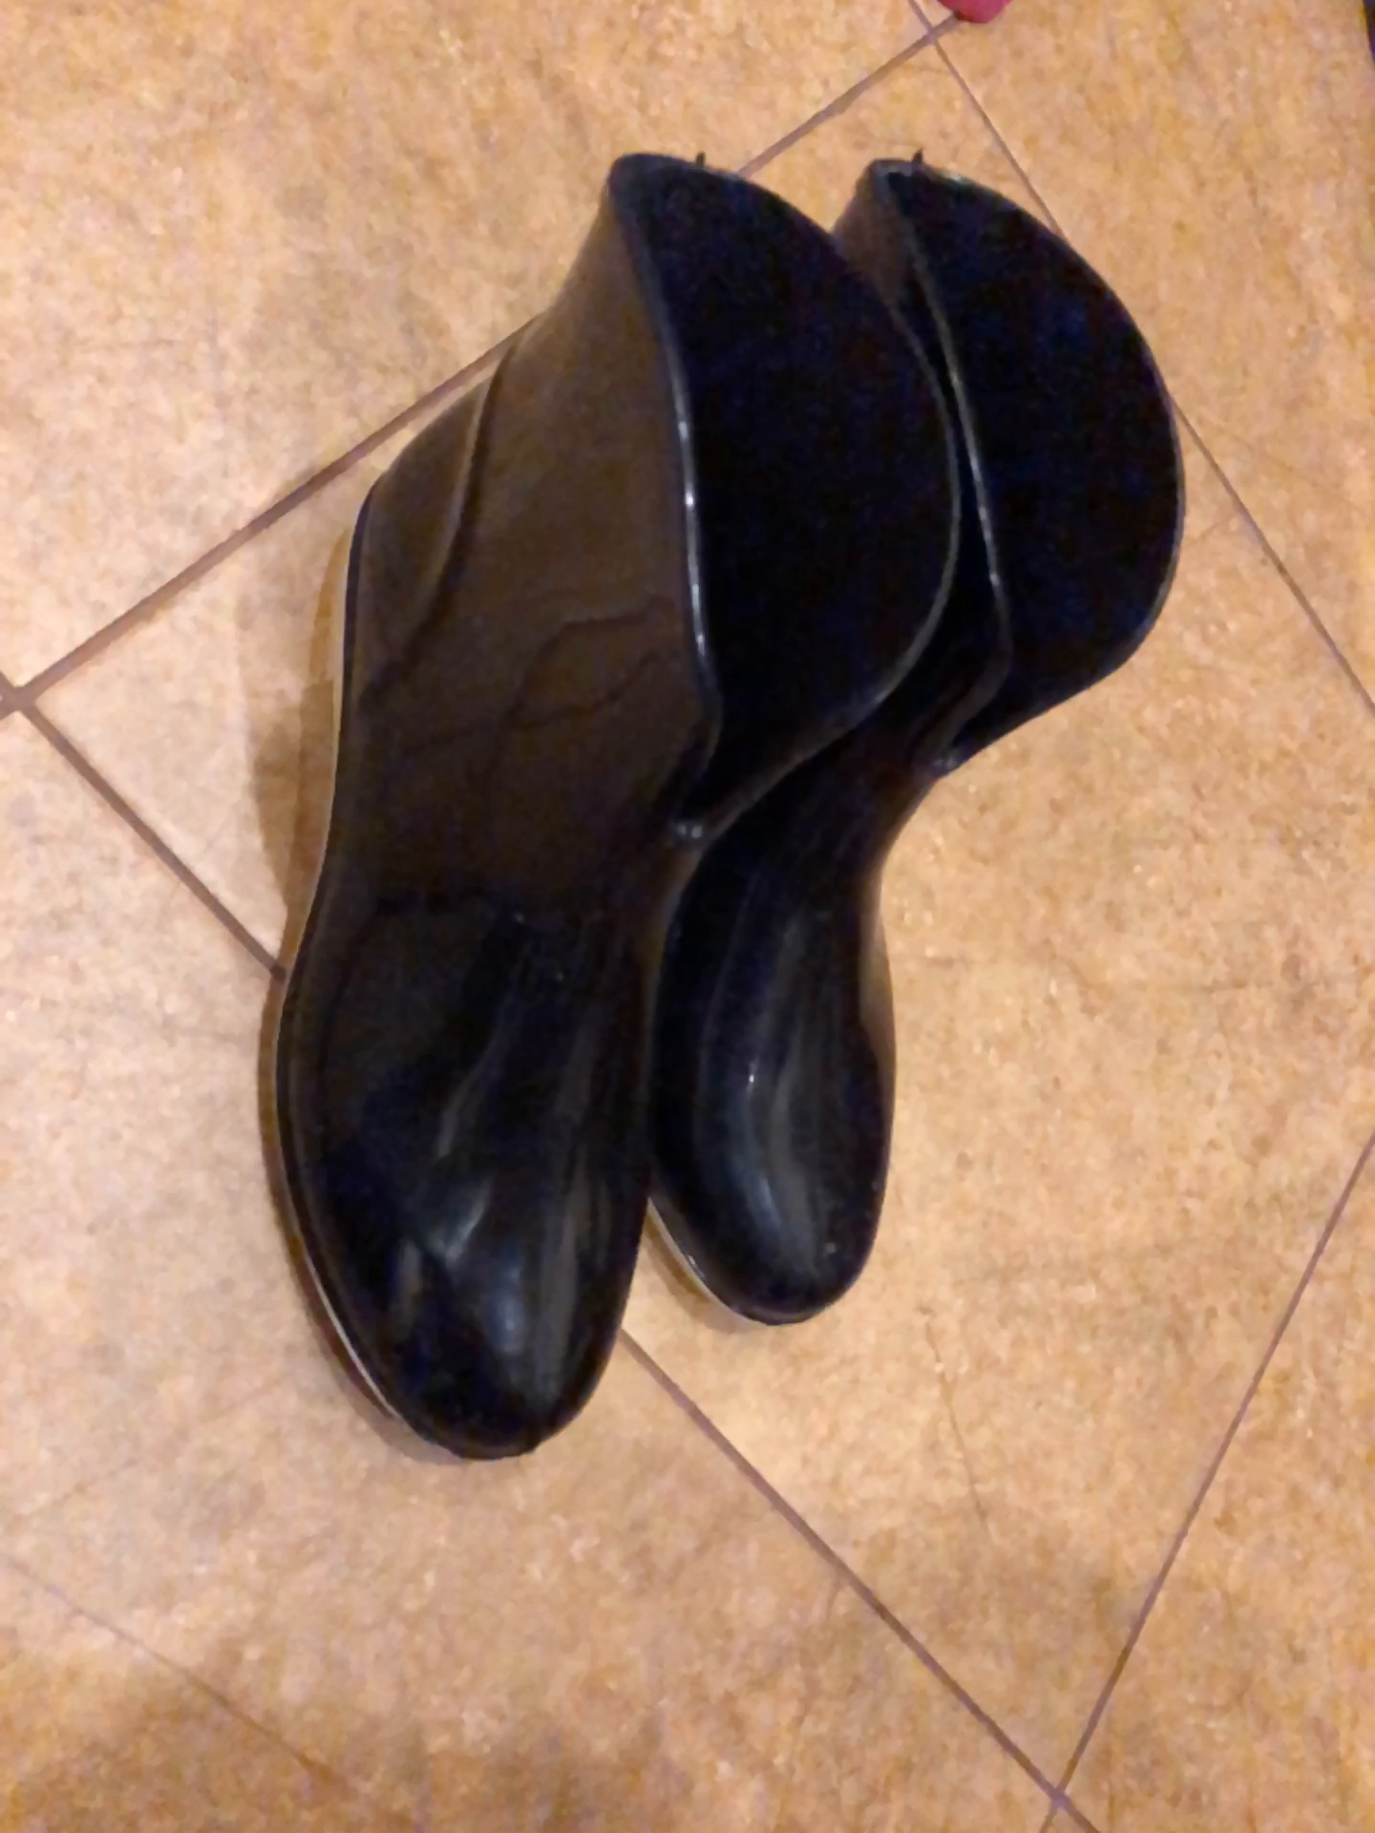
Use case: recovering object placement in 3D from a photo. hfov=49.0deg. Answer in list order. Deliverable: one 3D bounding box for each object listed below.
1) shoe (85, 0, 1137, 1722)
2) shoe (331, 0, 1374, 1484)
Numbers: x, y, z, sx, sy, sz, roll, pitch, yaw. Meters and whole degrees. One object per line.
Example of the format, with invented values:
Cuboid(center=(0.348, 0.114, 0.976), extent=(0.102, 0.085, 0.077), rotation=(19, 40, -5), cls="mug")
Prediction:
Cuboid(center=(-0.047, -0.018, 0.333), extent=(0.110, 0.229, 0.280), rotation=(0, 80, -32), cls="shoe")
Cuboid(center=(0.020, -0.026, 0.397), extent=(0.110, 0.229, 0.280), rotation=(-8, 84, -33), cls="shoe")
